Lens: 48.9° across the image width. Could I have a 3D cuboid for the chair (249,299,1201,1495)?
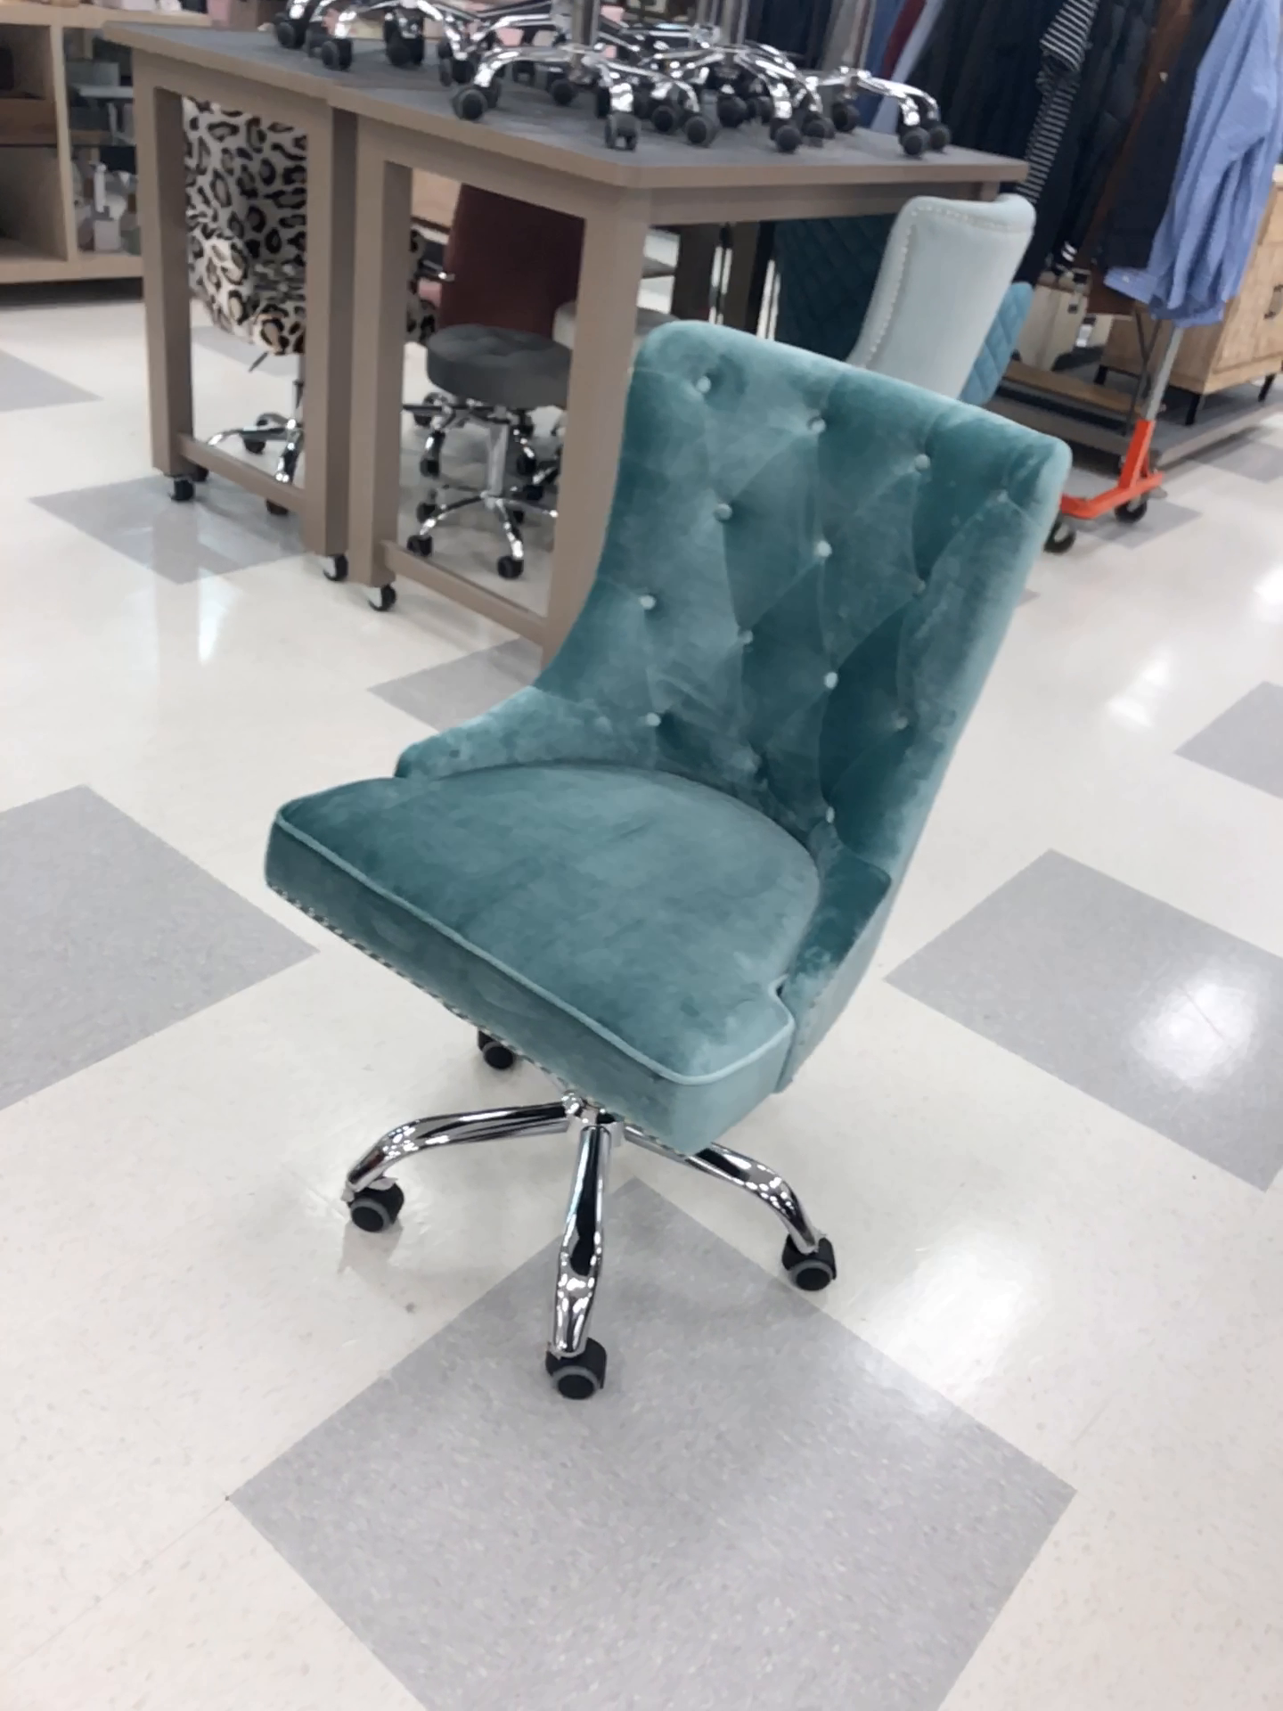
[{"bbox_3d":[0.030,-0.006,1.480,0.598,0.934,0.607,30,38,31],"label":"chair"}]
